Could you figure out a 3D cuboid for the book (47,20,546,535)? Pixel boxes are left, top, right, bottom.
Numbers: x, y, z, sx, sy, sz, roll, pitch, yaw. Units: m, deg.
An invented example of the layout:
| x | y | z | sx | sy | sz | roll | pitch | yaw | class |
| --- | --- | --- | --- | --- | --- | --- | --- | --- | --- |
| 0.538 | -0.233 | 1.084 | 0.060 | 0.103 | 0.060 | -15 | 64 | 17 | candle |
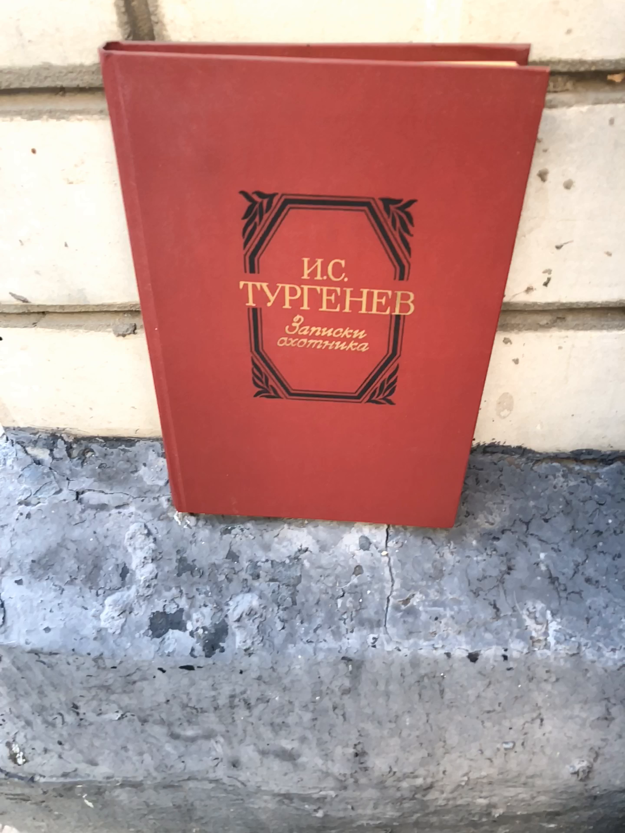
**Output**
| x | y | z | sx | sy | sz | roll | pitch | yaw | class |
| --- | --- | --- | --- | --- | --- | --- | --- | --- | --- |
| -0.003 | -0.037 | 0.274 | 0.147 | 0.205 | 0.026 | 3 | 39 | 7 | book |
